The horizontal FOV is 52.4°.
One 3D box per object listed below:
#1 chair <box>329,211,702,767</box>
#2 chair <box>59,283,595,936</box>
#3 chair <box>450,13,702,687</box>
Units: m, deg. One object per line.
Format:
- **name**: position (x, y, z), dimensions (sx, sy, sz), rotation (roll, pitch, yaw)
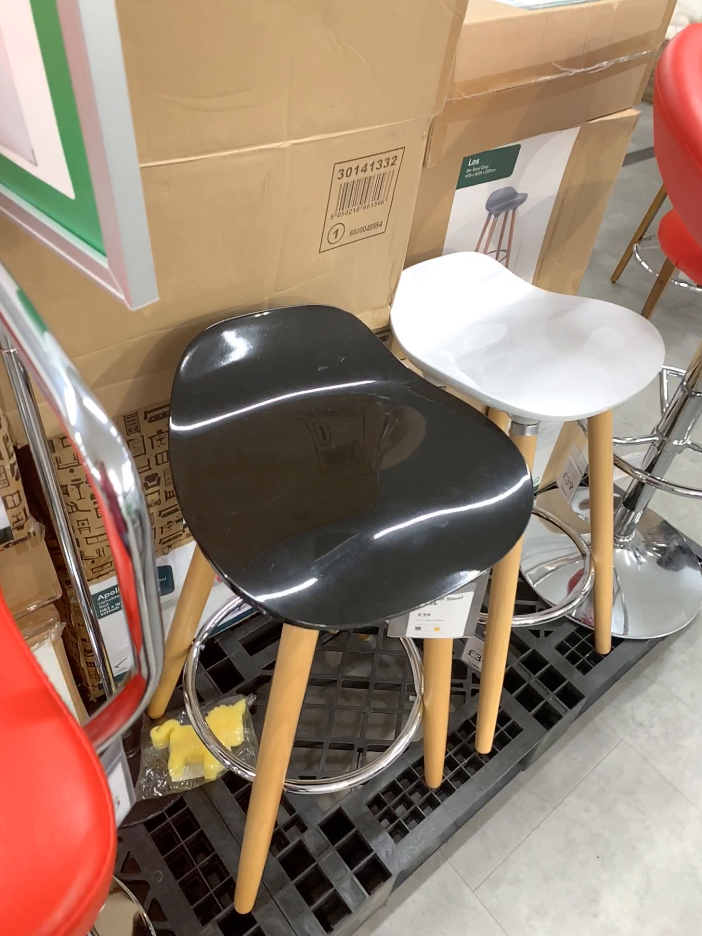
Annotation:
- **chair**: position (0.269, 0.049, 1.167), dimensions (0.386, 0.721, 0.418), rotation (-25, 52, -30)
- **chair**: position (-0.070, 0.209, 0.951), dimensions (0.385, 0.721, 0.399), rotation (-20, 49, -26)
- **chair**: position (0.601, -0.169, 1.266), dimensions (0.476, 0.978, 0.479), rotation (-25, 52, -30)
